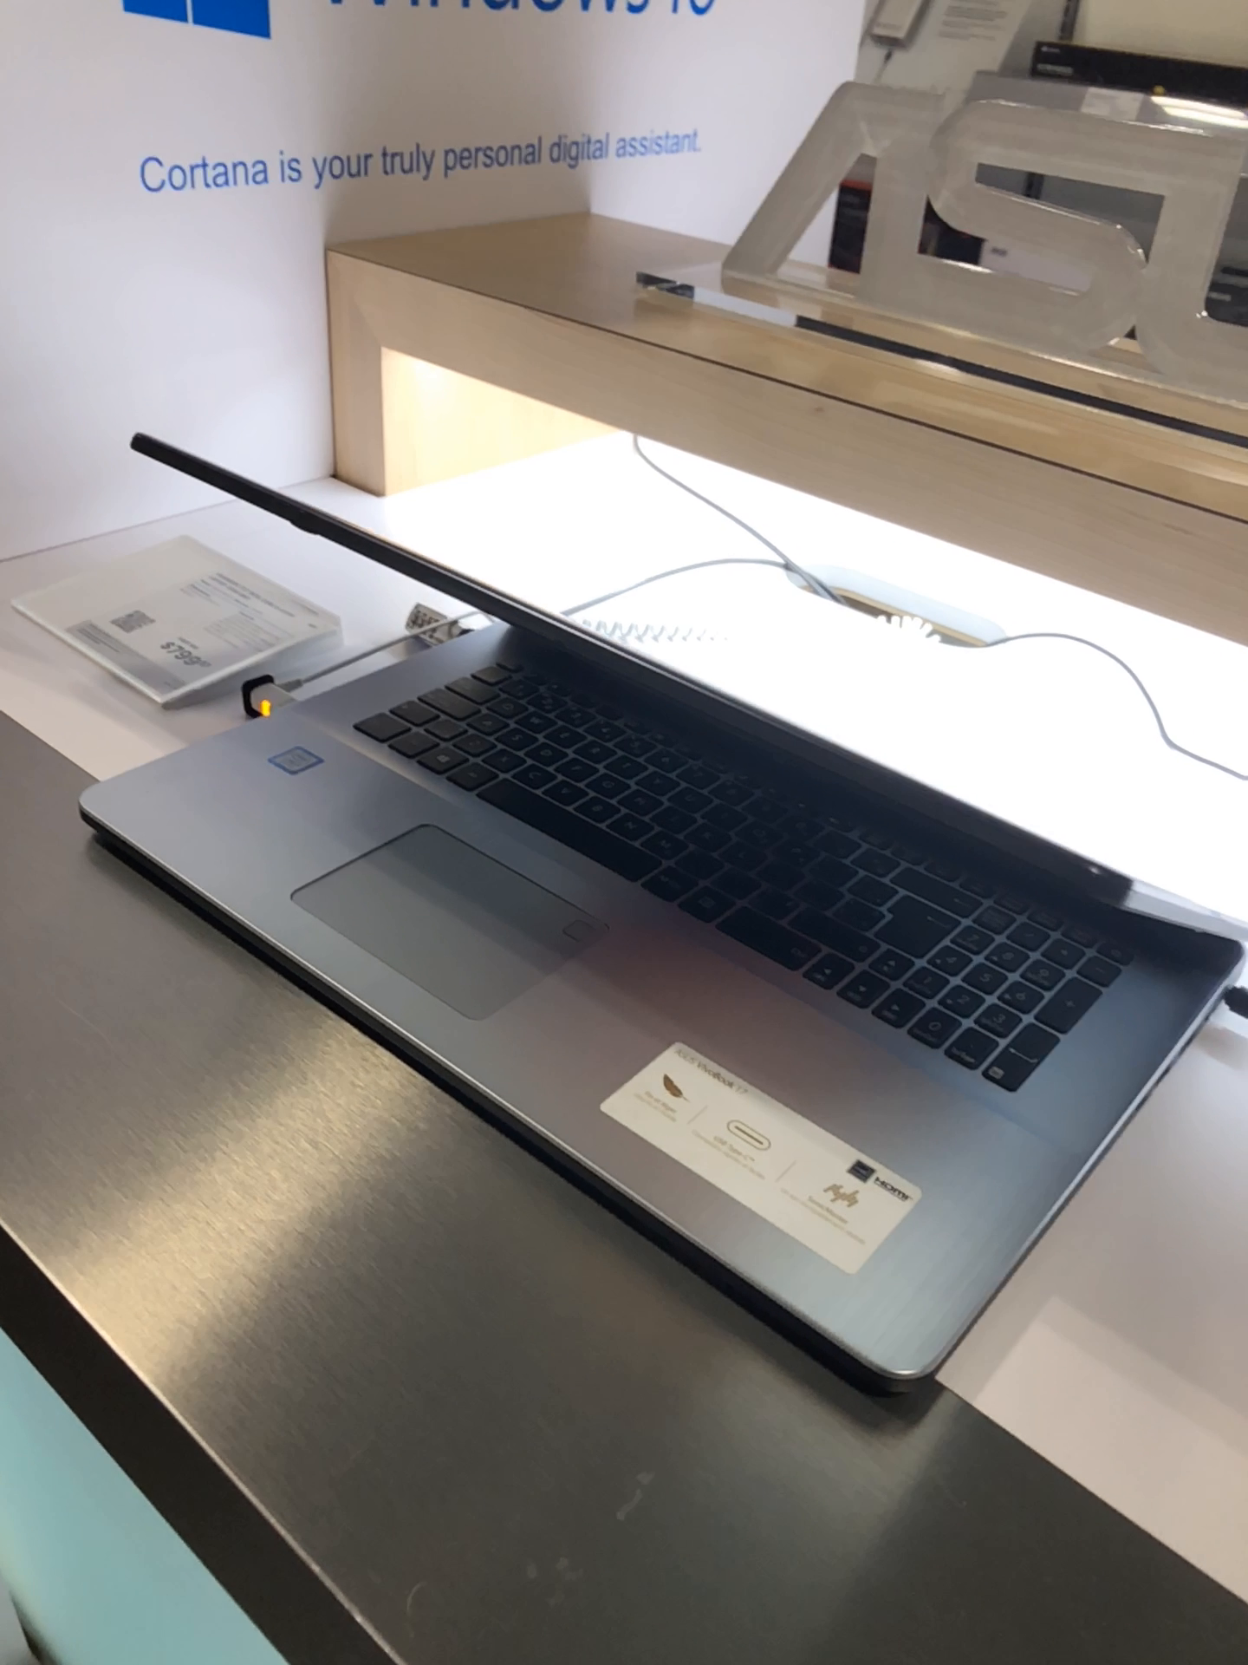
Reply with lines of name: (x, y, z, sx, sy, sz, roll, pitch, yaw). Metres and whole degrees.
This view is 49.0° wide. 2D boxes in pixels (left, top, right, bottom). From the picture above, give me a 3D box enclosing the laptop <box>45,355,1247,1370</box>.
laptop: (0.016, -0.043, 0.521, 0.392, 0.144, 0.259, 28, 40, 31)
